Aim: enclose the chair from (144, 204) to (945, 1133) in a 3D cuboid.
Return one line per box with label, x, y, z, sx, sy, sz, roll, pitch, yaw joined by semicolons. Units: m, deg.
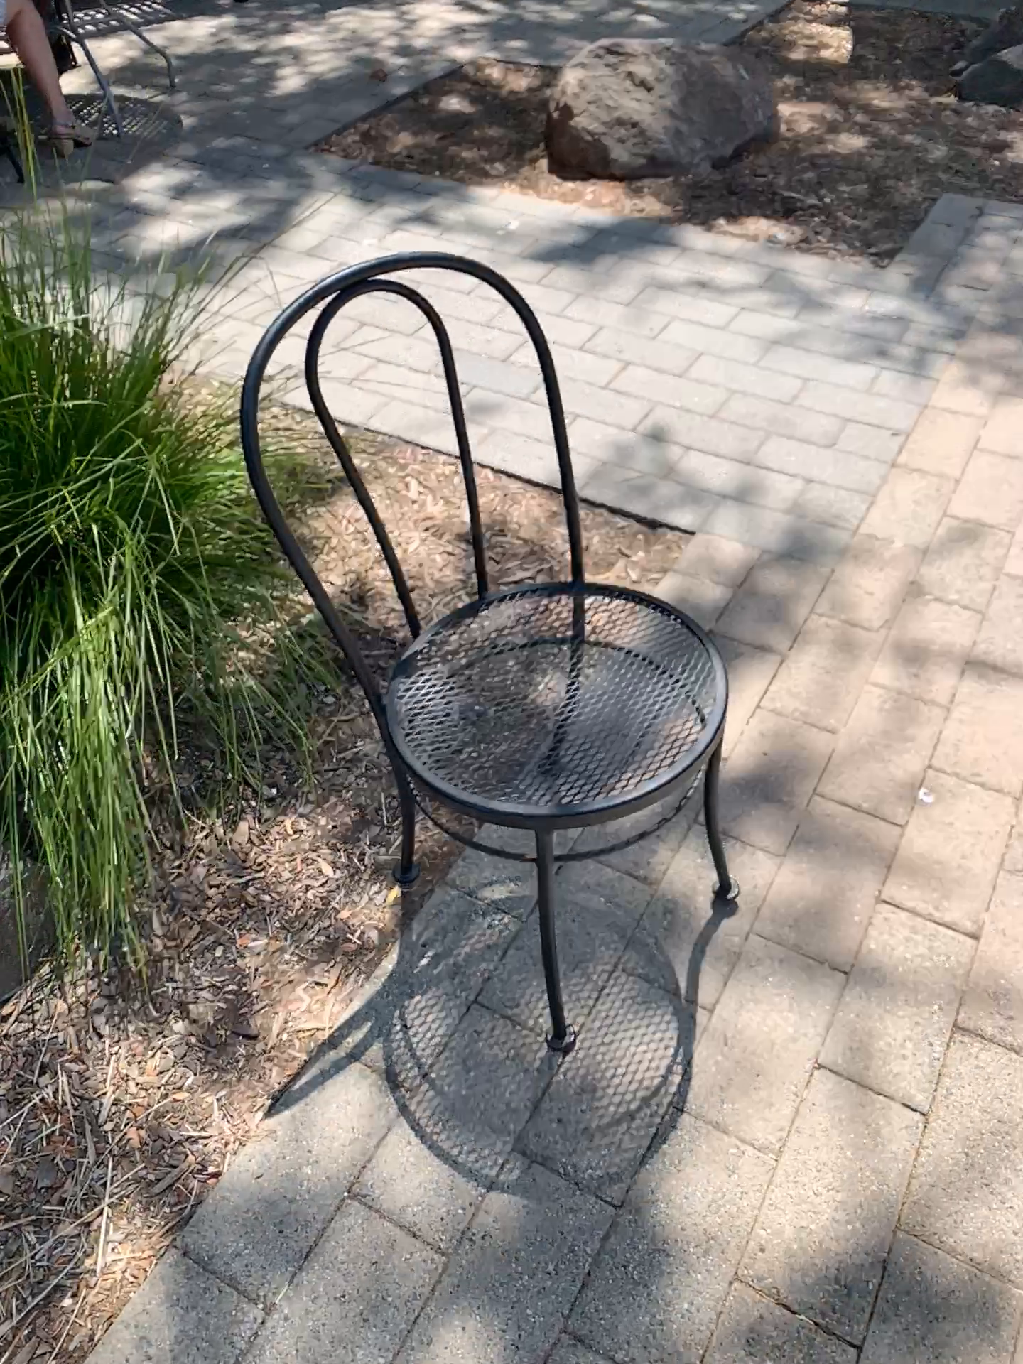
chair;0.021;-0.011;1.226;0.468;0.788;0.544;-34;53;-30
